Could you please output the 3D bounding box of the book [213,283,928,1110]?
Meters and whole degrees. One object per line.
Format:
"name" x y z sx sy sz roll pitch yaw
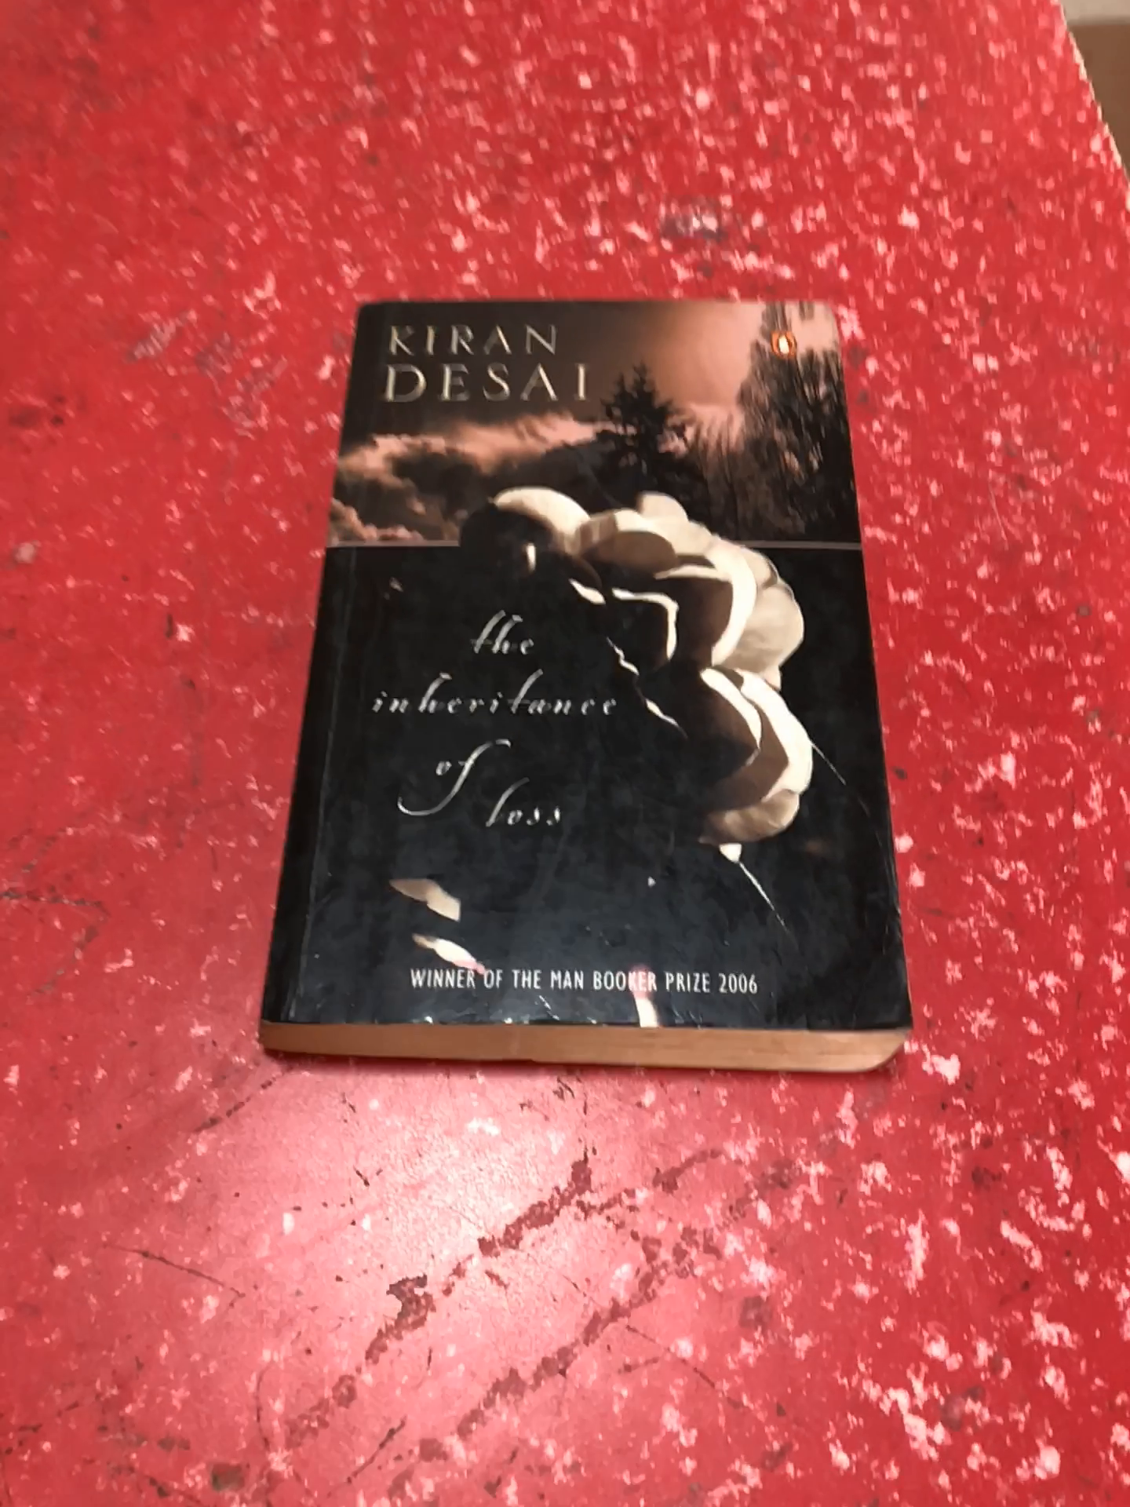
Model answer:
"book" 0.003 -0.020 0.300 0.130 0.060 0.190 1 62 1
